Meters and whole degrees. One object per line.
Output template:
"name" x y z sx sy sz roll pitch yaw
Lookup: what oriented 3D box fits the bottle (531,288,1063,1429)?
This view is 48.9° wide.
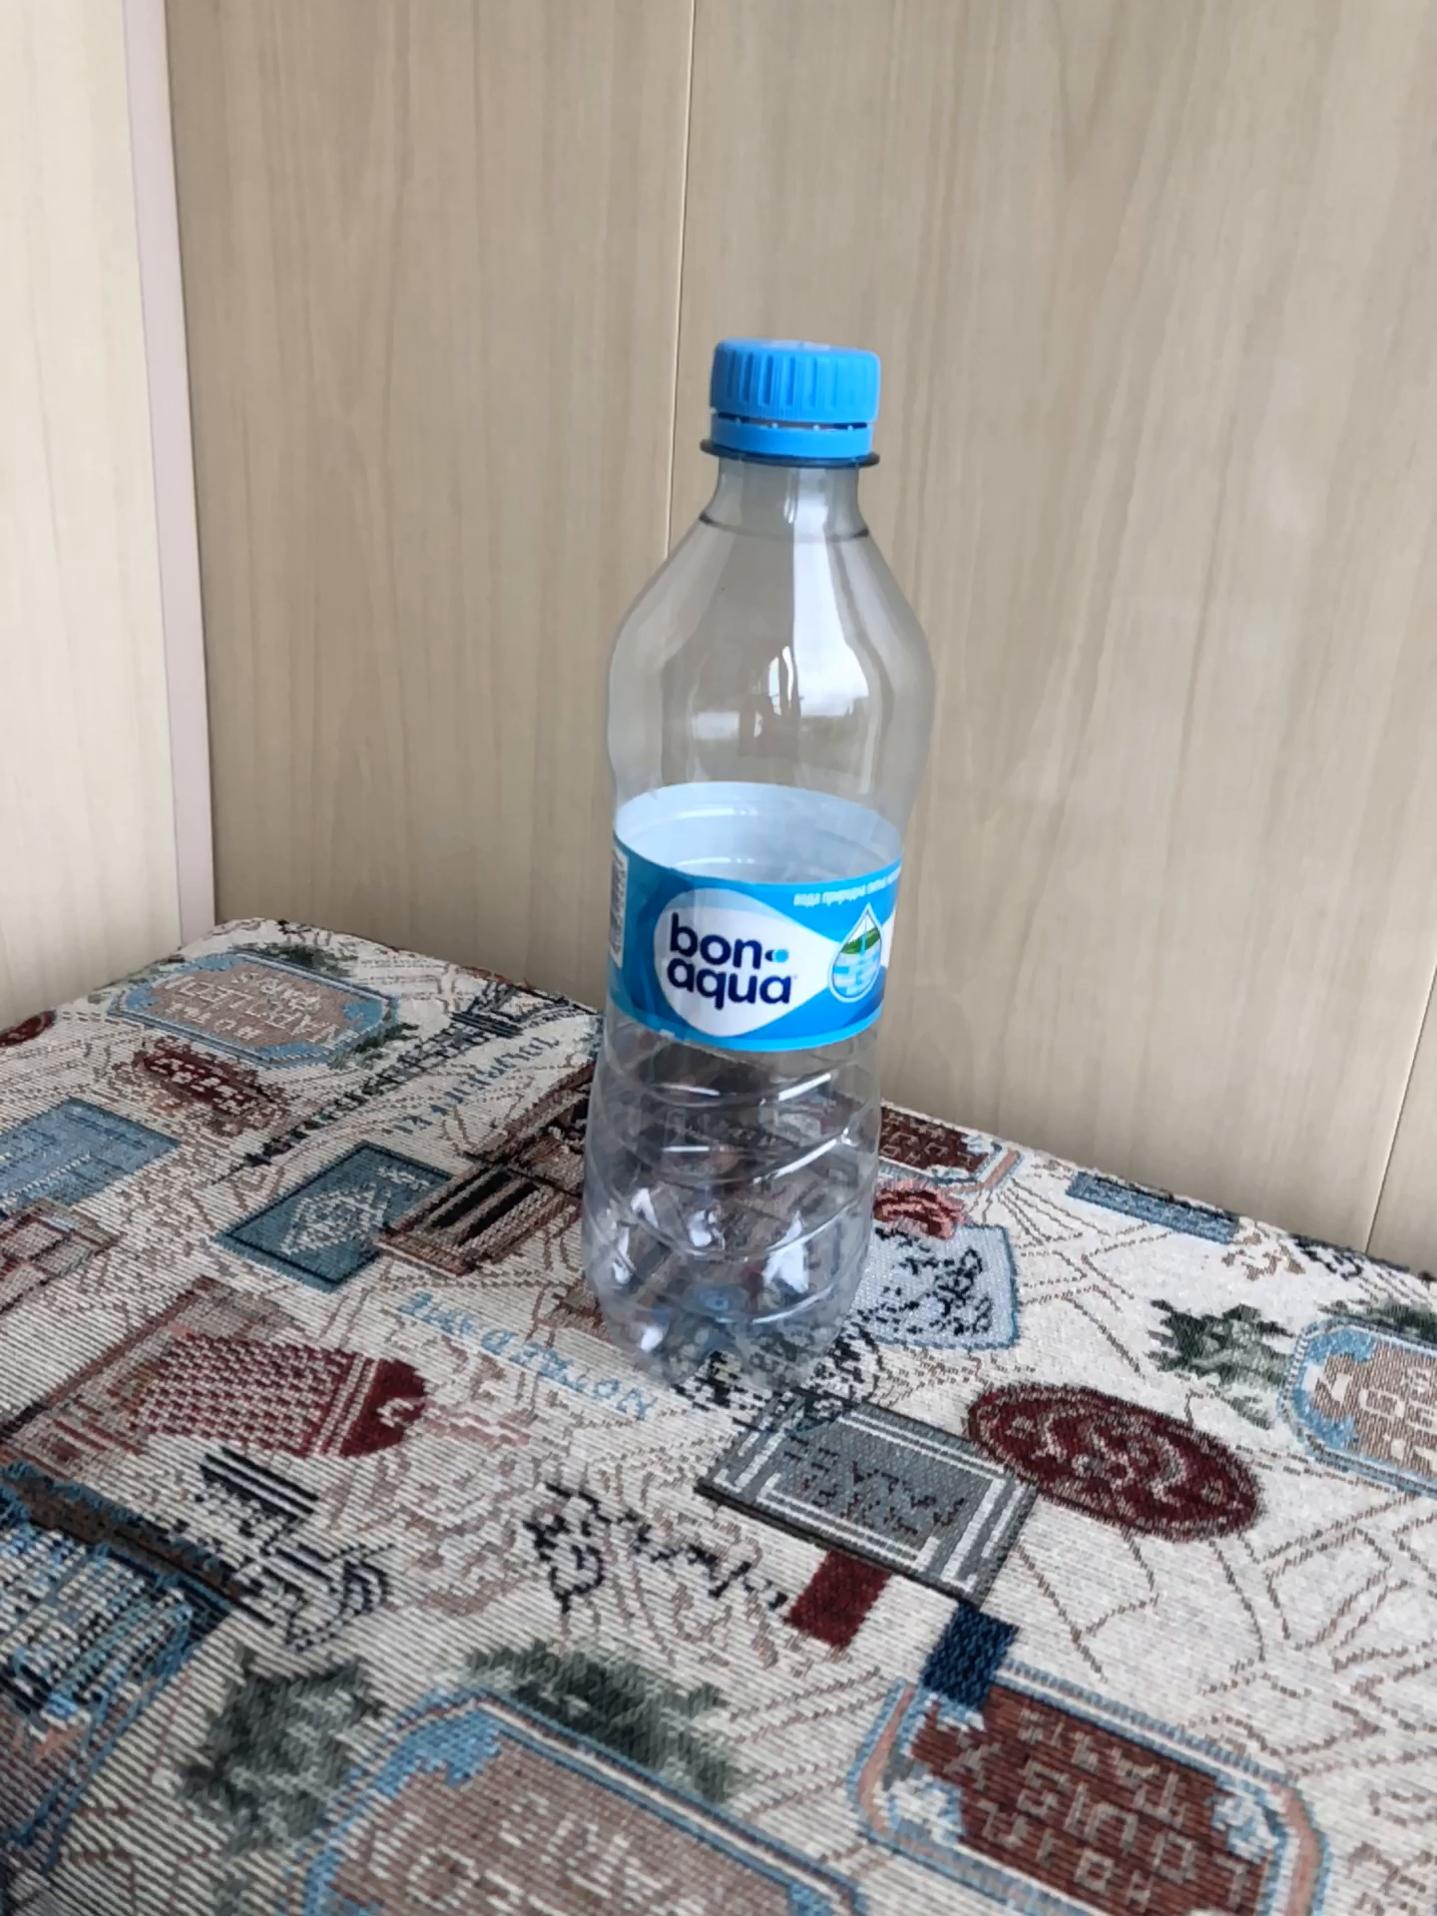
"bottle" 0.014 -0.020 0.321 0.080 0.209 0.070 8 22 12
